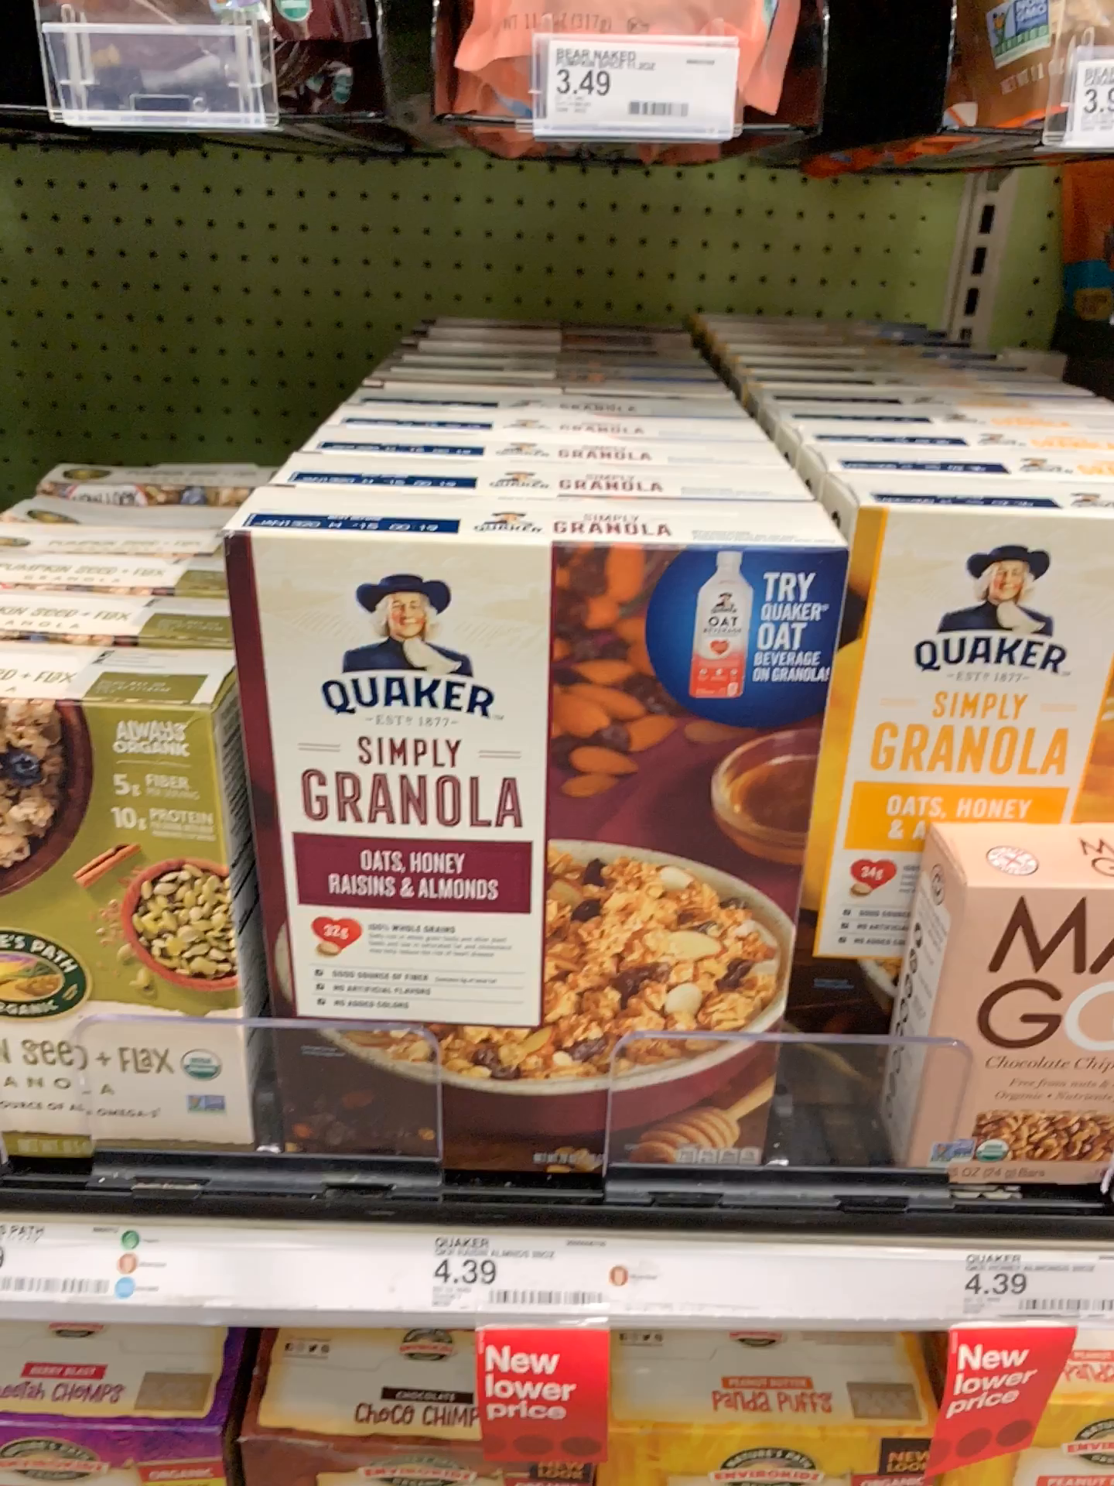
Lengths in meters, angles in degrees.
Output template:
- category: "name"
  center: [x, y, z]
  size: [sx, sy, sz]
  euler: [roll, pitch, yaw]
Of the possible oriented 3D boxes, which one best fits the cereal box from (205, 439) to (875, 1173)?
- category: "cereal box"
  center: [-0.009, 0.032, 0.393]
  size: [0.180, 0.249, 0.060]
  euler: [1, 27, -2]
